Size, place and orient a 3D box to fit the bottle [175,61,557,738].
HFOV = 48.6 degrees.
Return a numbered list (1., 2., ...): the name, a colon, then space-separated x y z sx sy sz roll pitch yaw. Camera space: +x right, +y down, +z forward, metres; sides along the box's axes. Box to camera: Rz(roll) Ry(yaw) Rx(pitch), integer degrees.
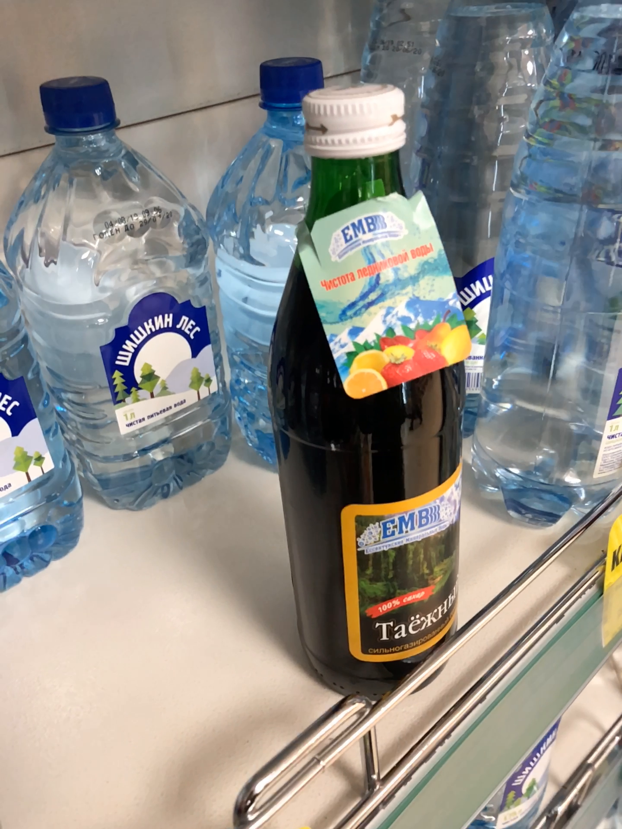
1. bottle: 0.023 0.004 0.243 0.075 0.219 0.068 -29 40 -30
